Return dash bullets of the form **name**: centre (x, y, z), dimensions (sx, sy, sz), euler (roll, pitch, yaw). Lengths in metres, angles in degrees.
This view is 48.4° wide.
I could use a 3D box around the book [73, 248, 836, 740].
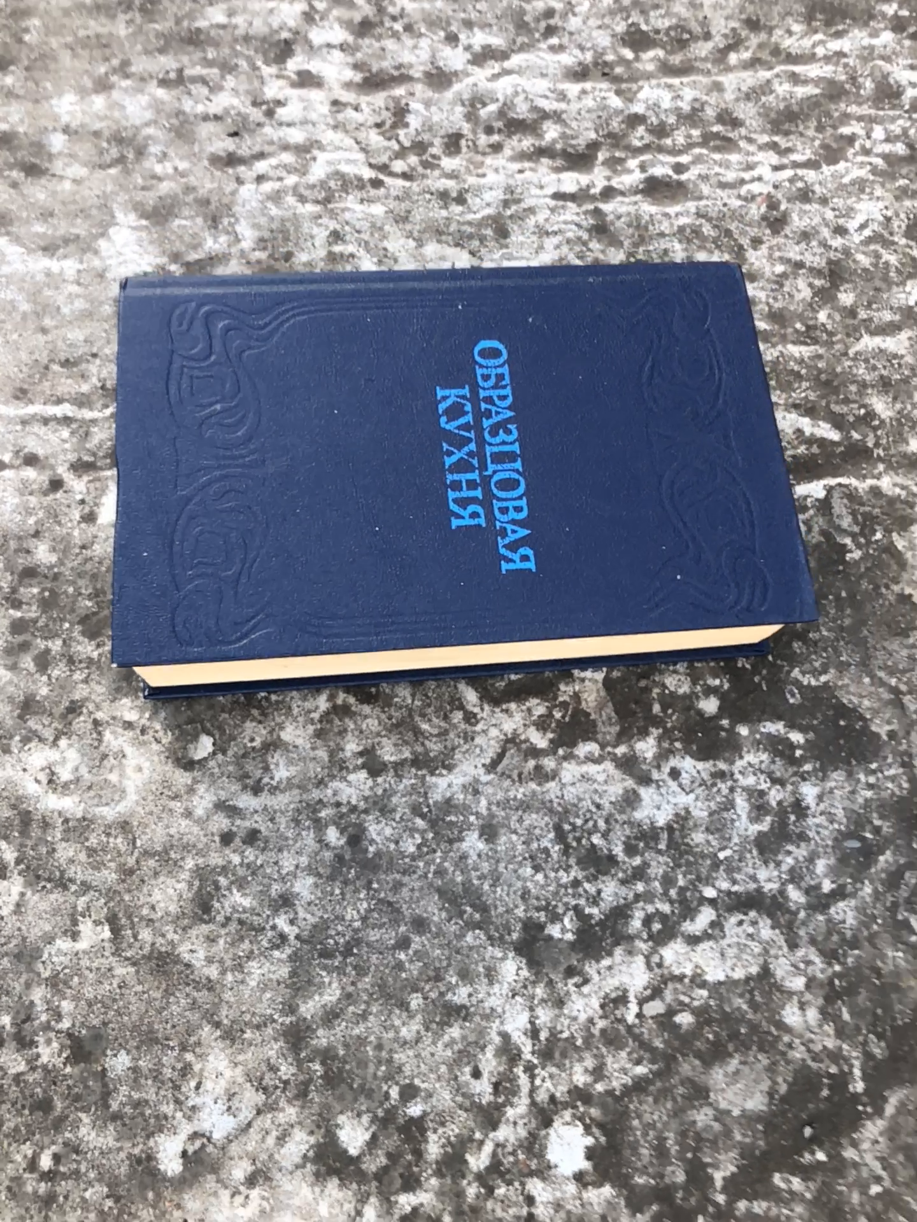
- **book**: centre (-0.005, -0.040, 0.319), dimensions (0.210, 0.040, 0.140), euler (-3, 72, -7)
